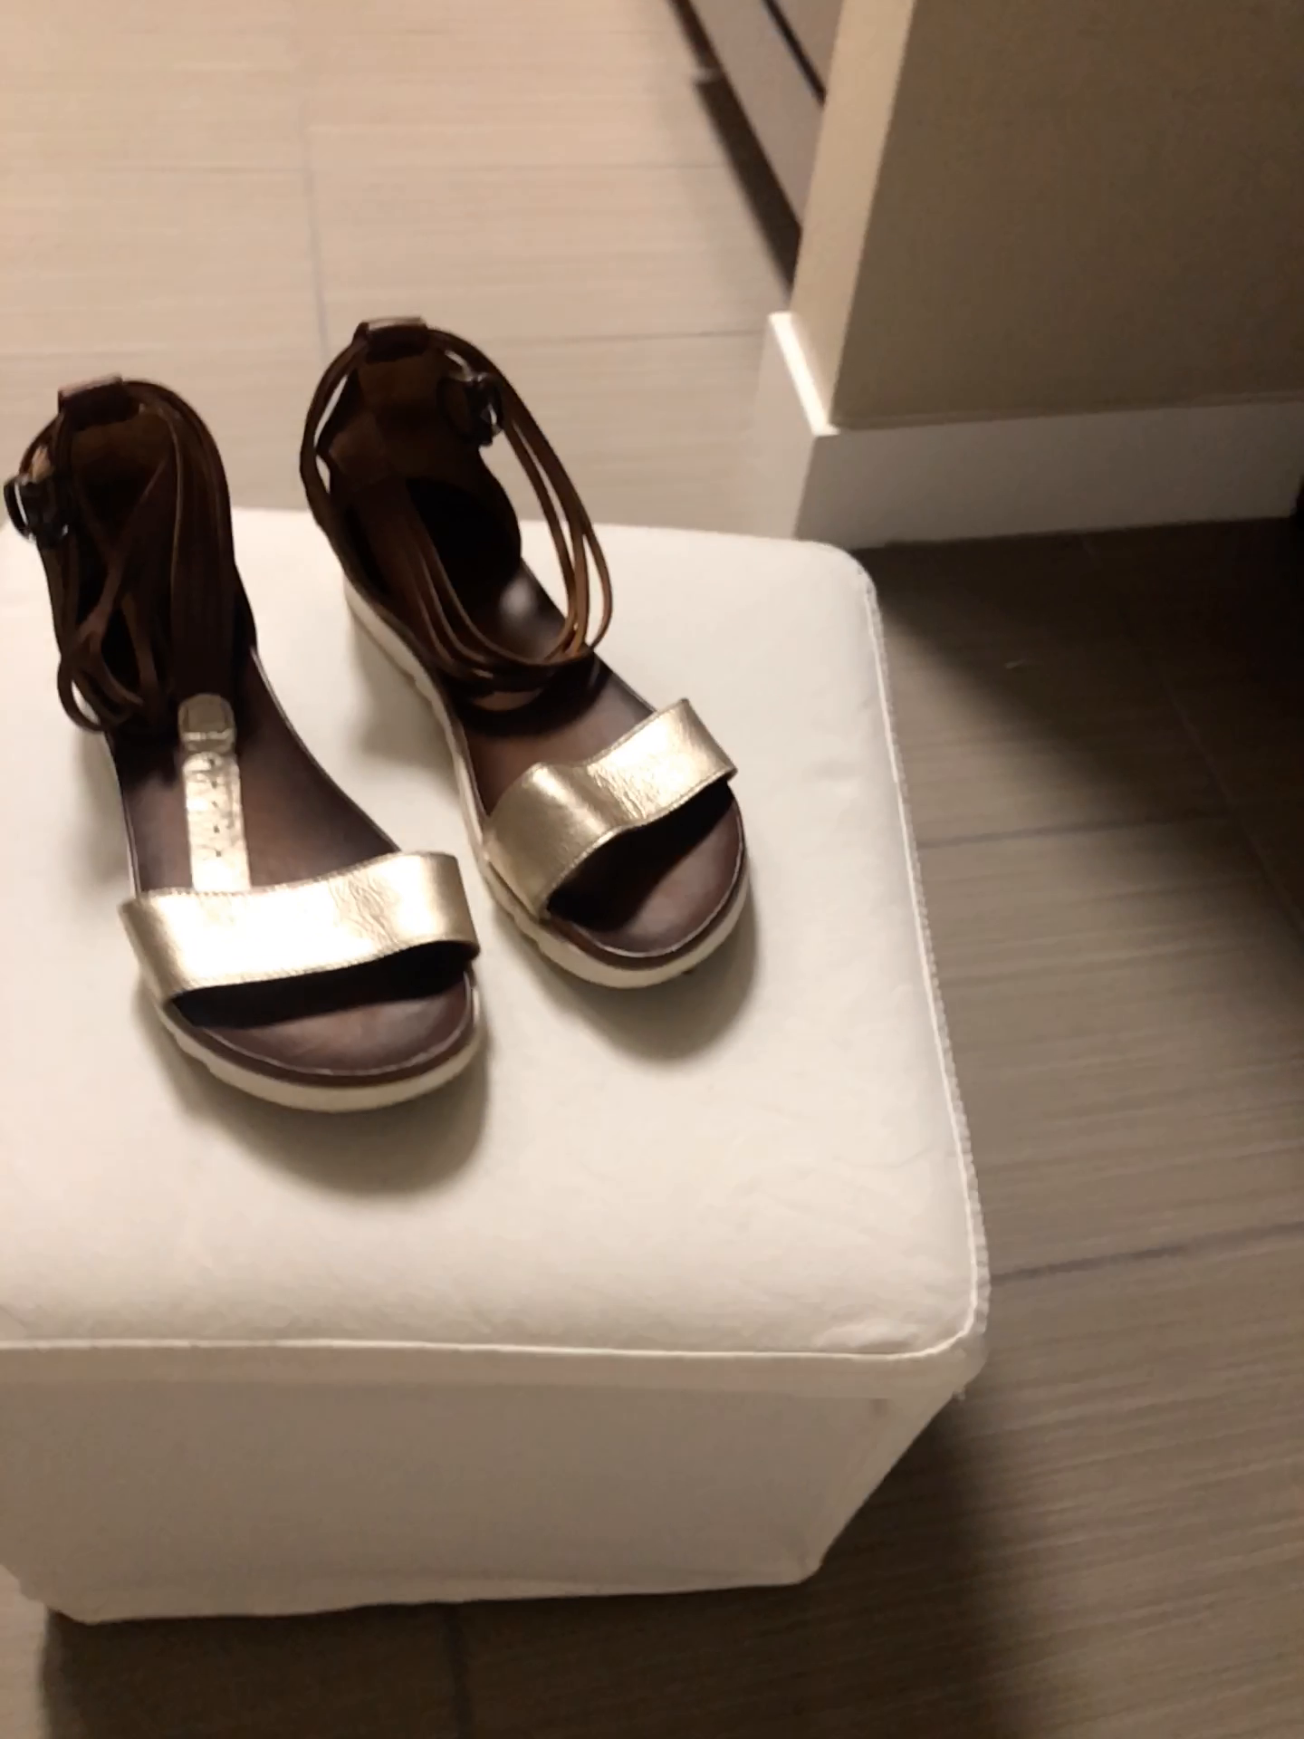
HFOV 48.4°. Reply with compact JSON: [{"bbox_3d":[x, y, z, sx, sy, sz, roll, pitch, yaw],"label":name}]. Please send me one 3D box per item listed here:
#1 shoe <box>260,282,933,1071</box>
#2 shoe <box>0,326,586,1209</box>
[{"bbox_3d":[-0.032,-0.079,0.491,0.110,0.090,0.261,-19,57,-20],"label":"shoe"},{"bbox_3d":[-0.128,-0.047,0.449,0.110,0.090,0.261,-19,57,-20],"label":"shoe"}]
